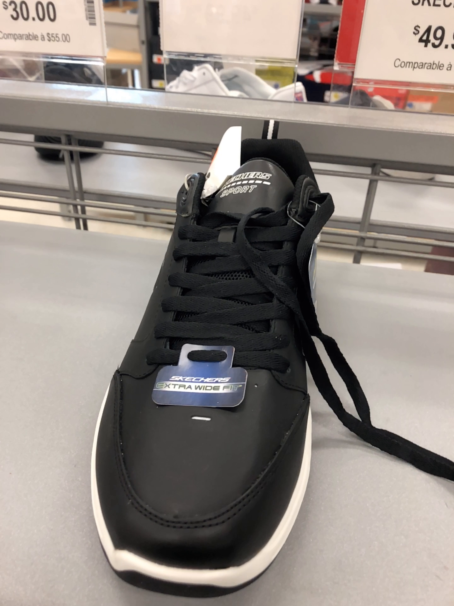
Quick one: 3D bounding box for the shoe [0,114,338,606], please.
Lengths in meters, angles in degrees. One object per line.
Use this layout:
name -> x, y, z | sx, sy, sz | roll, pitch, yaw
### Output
shoe -> -0.004, -0.012, 0.326 | 0.130, 0.109, 0.353 | 8, 36, 7
